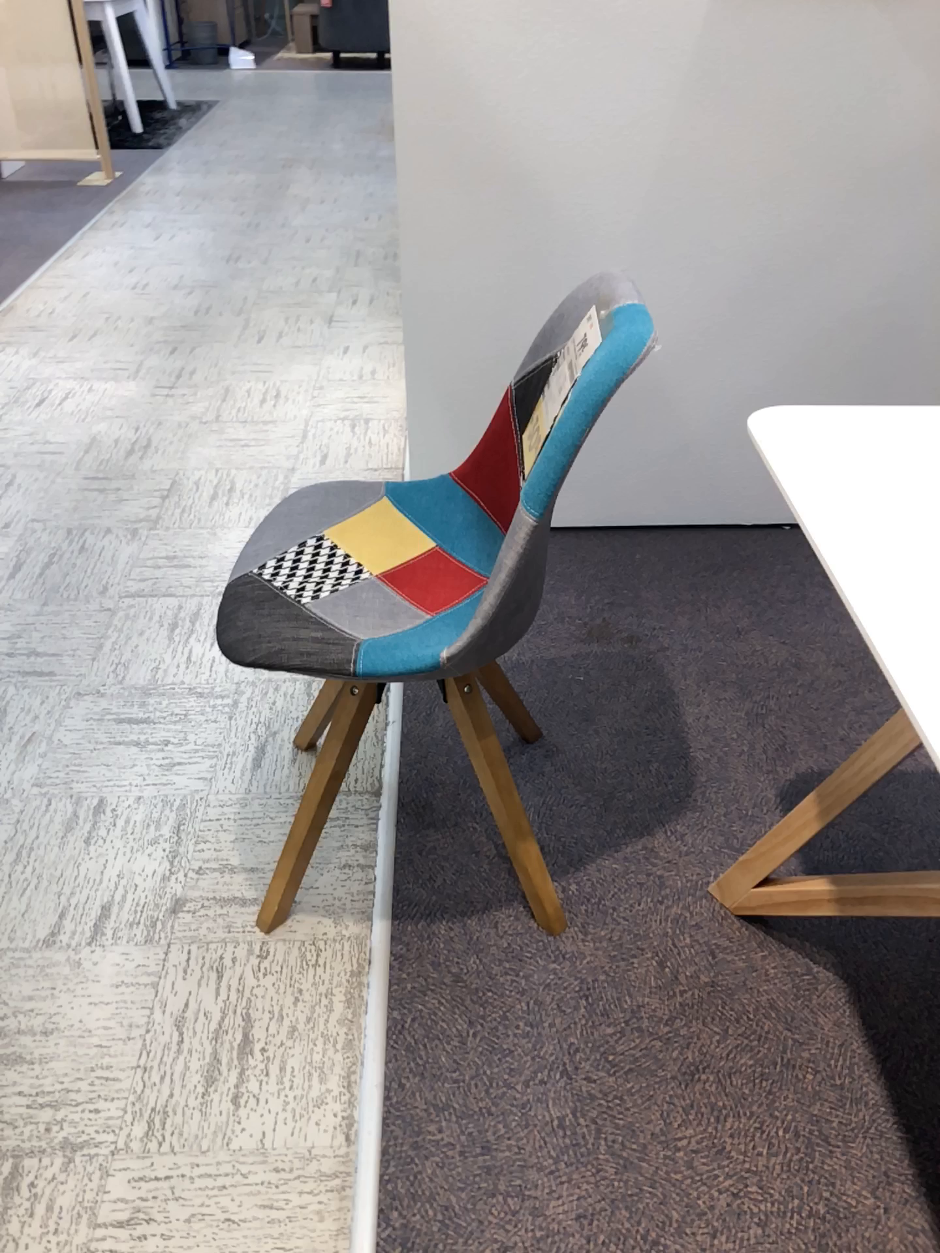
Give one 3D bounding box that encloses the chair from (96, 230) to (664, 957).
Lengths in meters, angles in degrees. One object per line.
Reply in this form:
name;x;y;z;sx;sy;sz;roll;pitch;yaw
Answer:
chair;-0.085;-0.034;1.345;0.510;0.815;0.473;-1;34;-1
